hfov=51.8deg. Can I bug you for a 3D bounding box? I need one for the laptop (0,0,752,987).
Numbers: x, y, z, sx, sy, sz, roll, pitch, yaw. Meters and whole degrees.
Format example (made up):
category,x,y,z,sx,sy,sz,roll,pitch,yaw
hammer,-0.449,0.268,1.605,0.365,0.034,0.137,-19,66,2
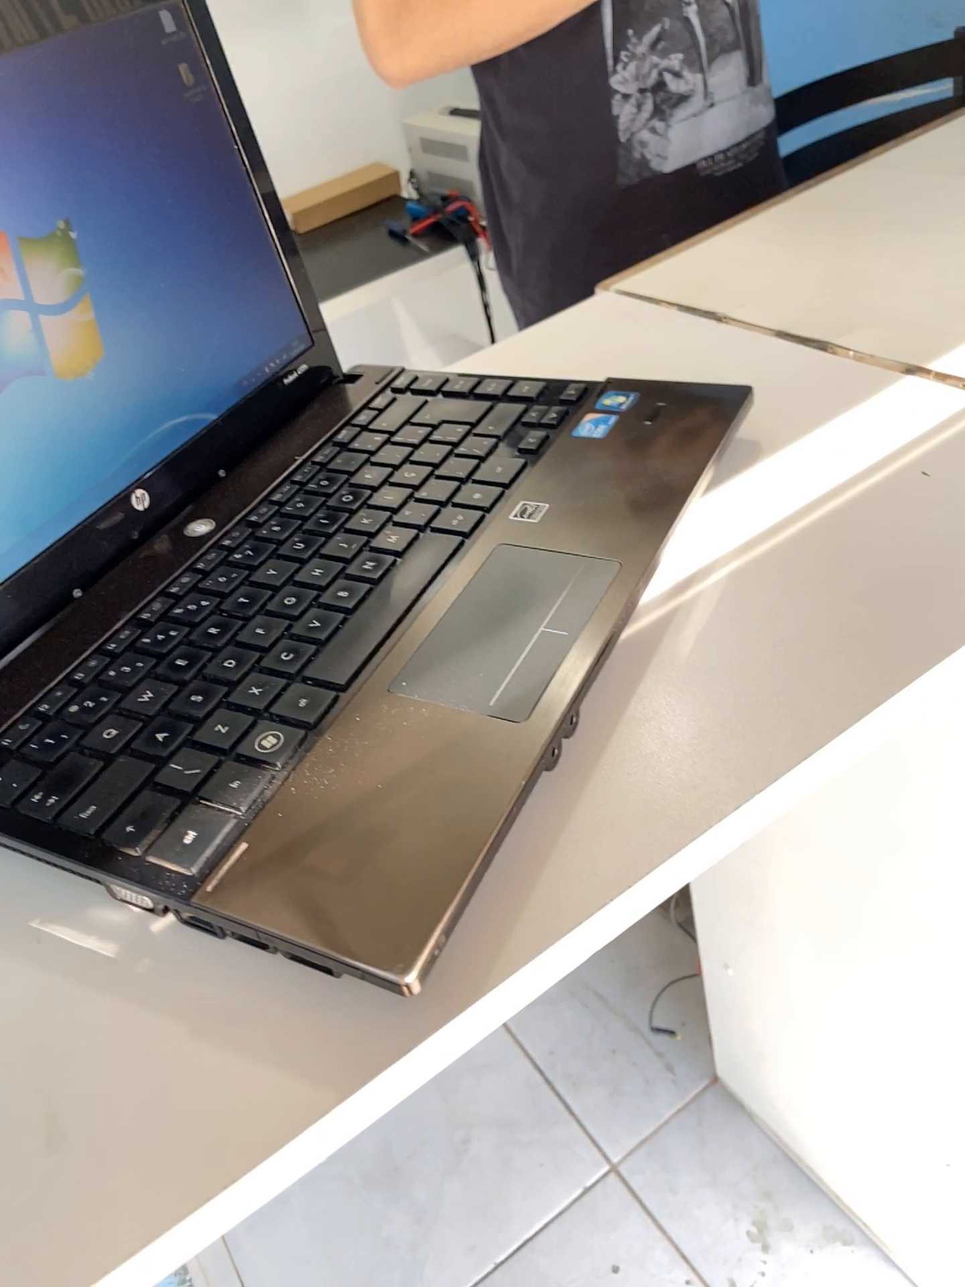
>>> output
category,x,y,z,sx,sy,sz,roll,pitch,yaw
laptop,-0.085,-0.117,0.351,0.259,0.207,0.323,10,45,28
